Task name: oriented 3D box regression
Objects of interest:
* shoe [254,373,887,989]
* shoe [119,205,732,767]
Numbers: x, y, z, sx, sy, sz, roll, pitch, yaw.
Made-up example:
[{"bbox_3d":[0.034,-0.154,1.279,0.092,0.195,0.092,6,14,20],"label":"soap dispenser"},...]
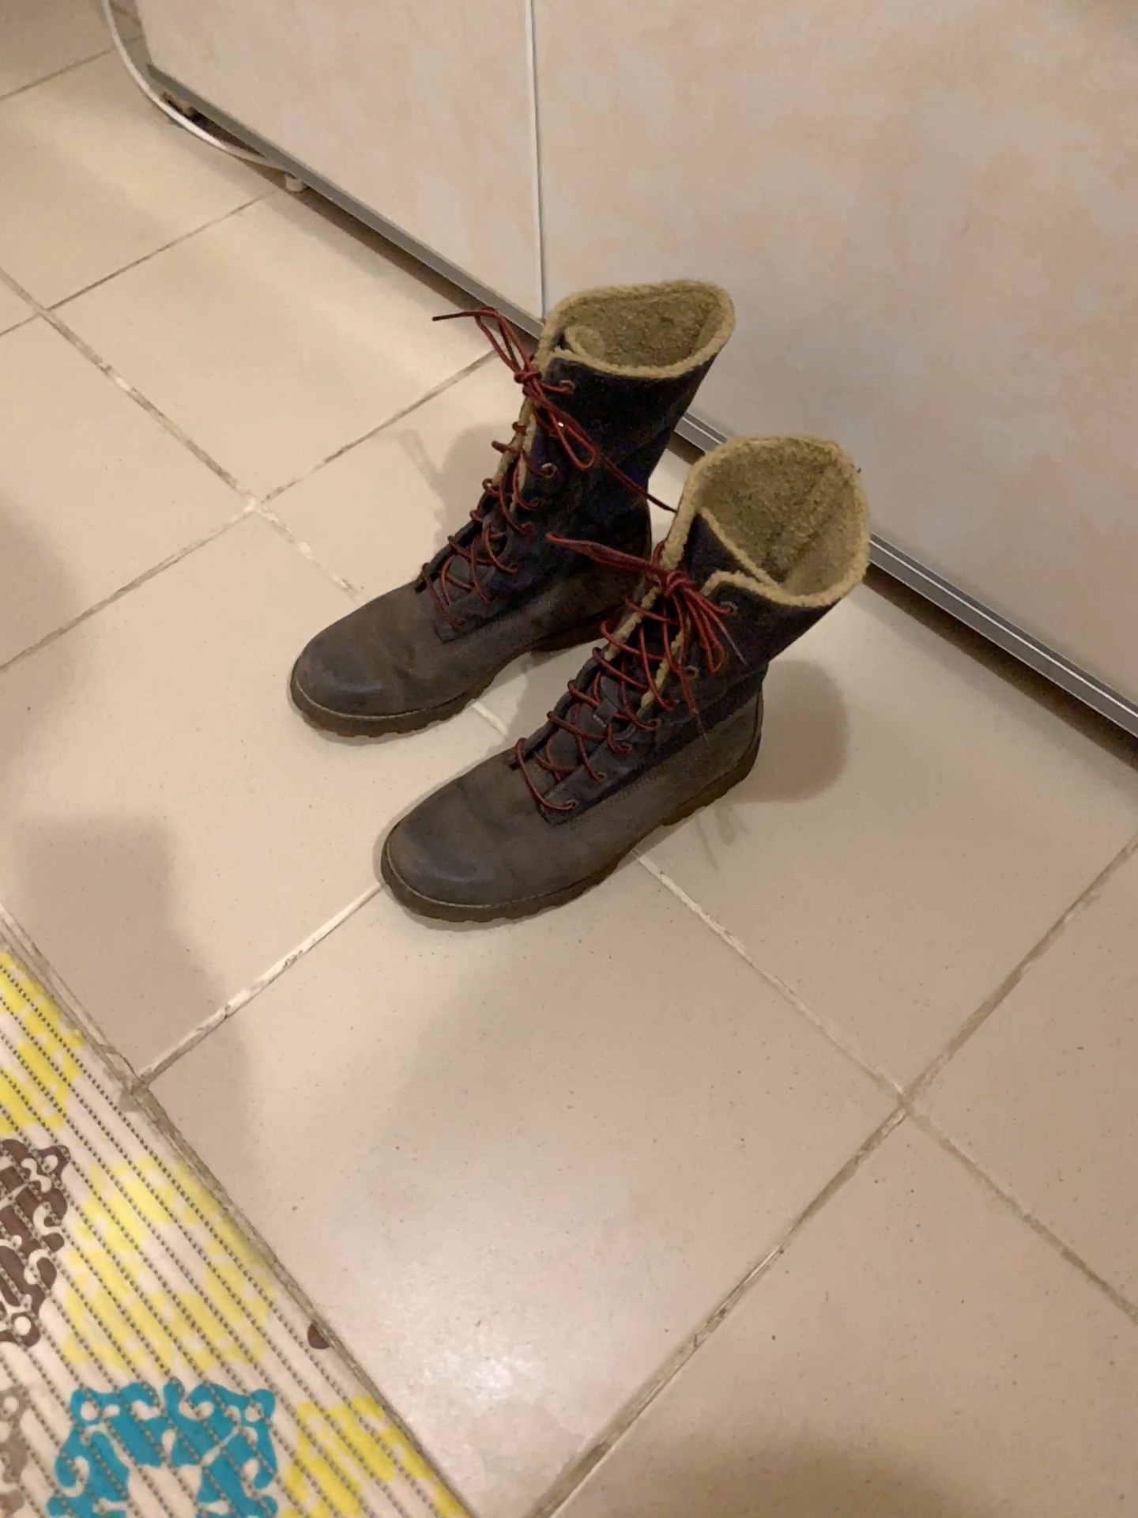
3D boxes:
[{"bbox_3d":[0.012,-0.029,0.639,0.280,0.249,0.100,-29,60,-12],"label":"shoe"},{"bbox_3d":[-0.070,-0.144,0.676,0.280,0.250,0.100,-23,67,-13],"label":"shoe"}]
